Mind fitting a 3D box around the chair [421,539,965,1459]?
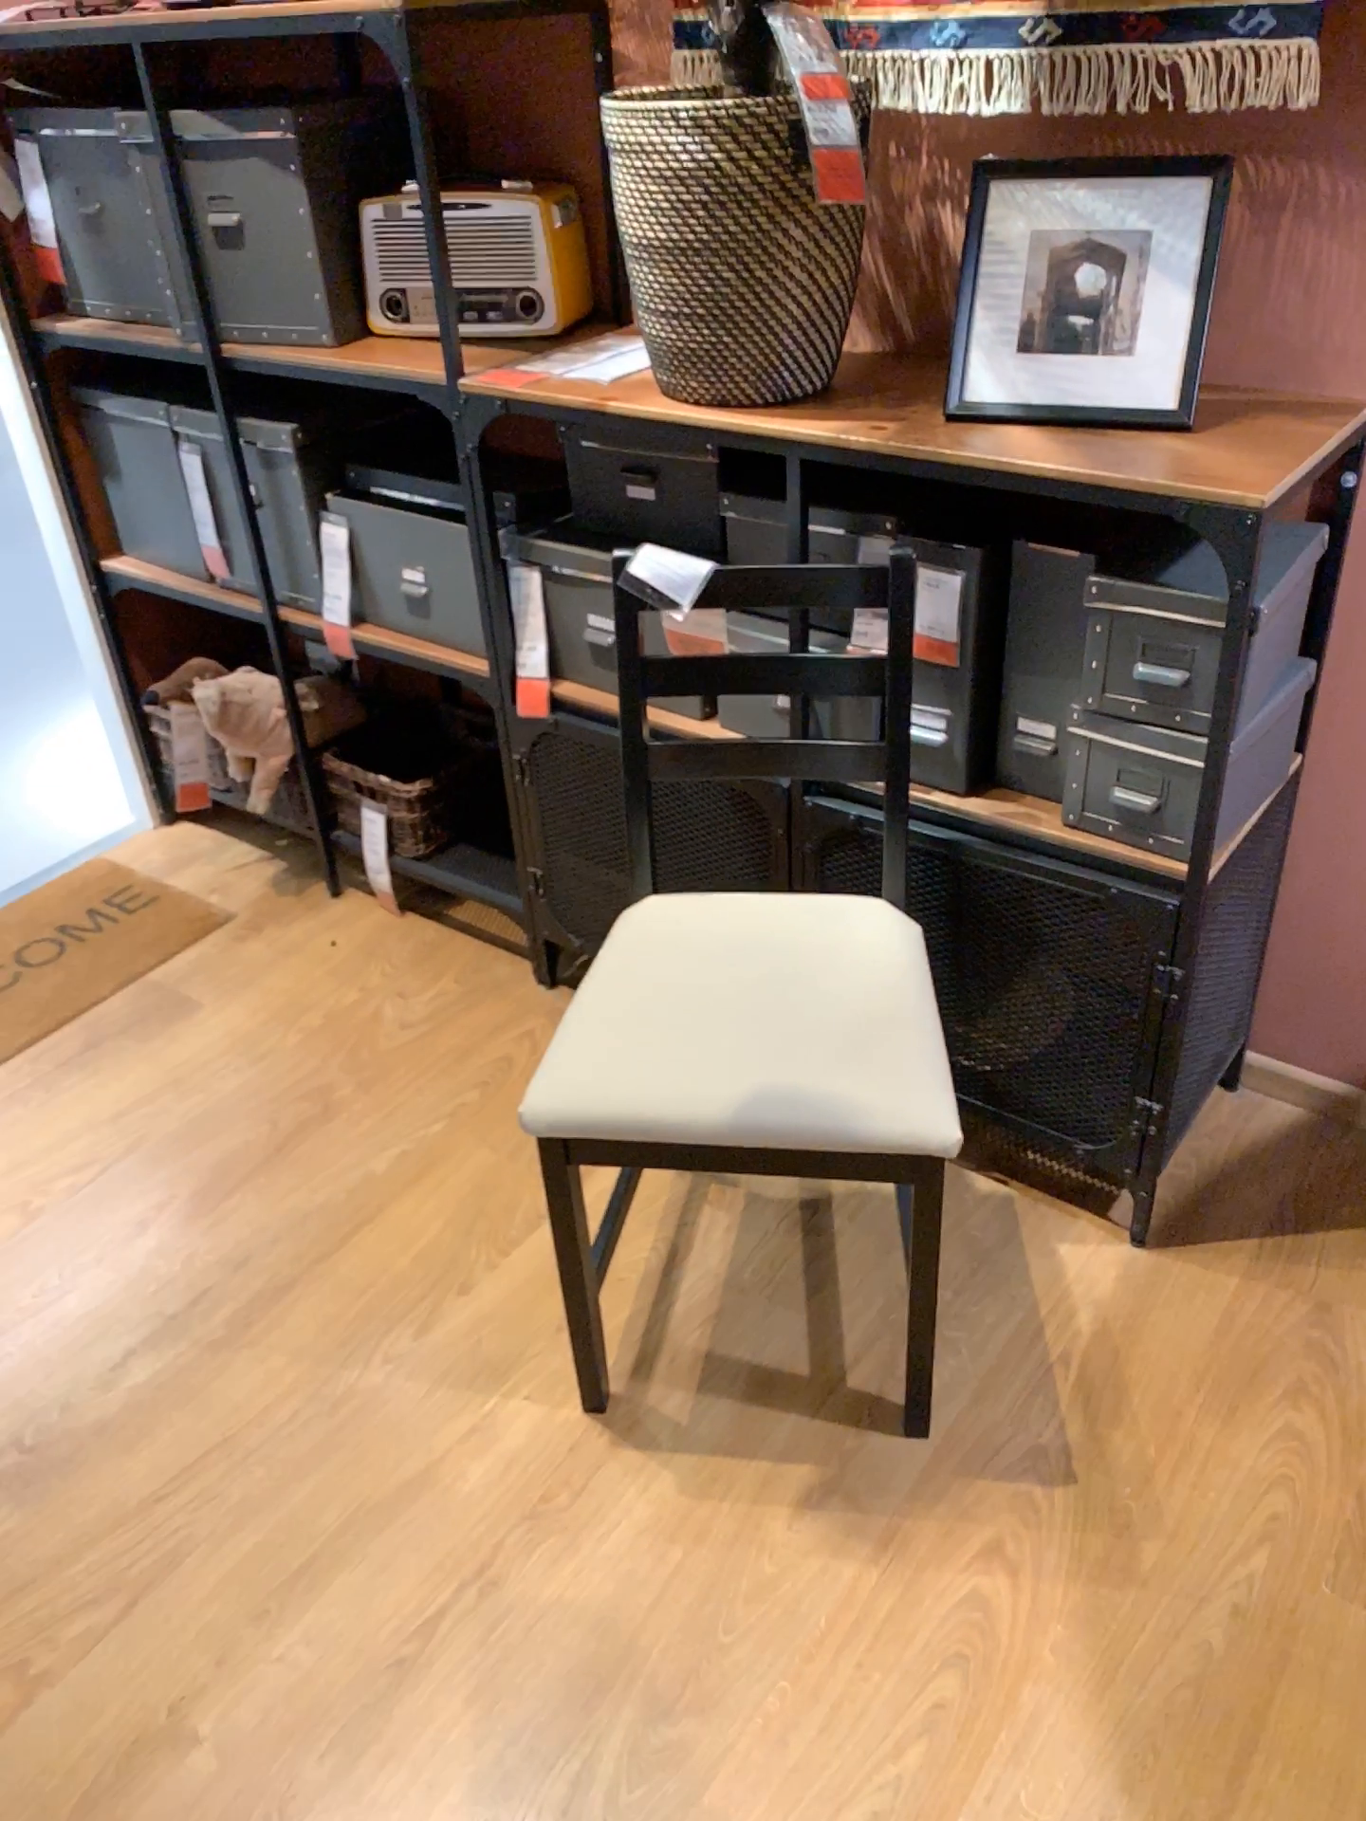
[{"bbox_3d":[0.066,0.088,1.465,0.410,0.796,0.502,2,34,10],"label":"chair"}]
